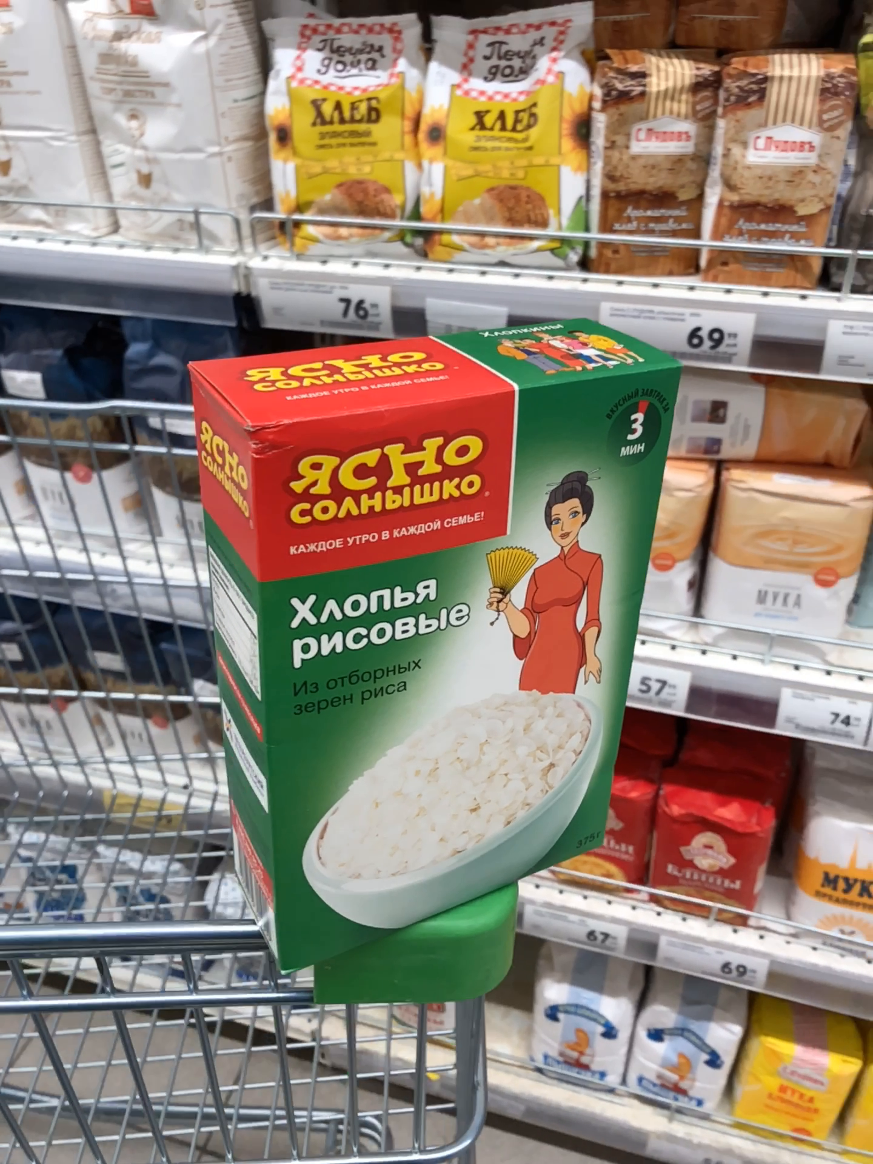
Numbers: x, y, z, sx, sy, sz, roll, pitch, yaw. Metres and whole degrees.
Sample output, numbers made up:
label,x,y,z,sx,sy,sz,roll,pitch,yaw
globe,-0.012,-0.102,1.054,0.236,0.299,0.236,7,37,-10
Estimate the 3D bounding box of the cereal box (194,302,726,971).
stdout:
label,x,y,z,sx,sy,sz,roll,pitch,yaw
cereal box,0.007,0.017,0.314,0.140,0.189,0.050,-14,34,-25
